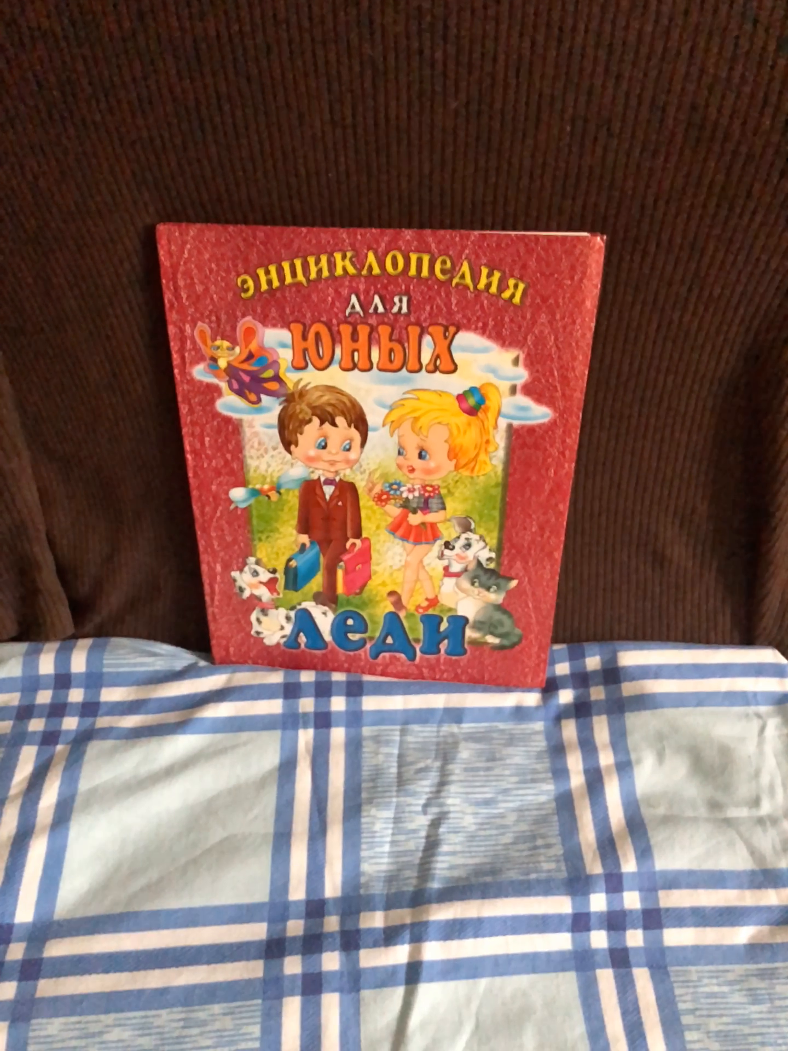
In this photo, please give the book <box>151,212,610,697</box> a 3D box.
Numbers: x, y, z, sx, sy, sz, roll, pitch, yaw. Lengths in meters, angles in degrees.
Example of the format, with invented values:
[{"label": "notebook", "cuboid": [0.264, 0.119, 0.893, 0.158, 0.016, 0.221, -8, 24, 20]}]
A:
[{"label": "book", "cuboid": [-0.010, -0.024, 0.521, 0.230, 0.303, 0.020, 2, 31, 1]}]
